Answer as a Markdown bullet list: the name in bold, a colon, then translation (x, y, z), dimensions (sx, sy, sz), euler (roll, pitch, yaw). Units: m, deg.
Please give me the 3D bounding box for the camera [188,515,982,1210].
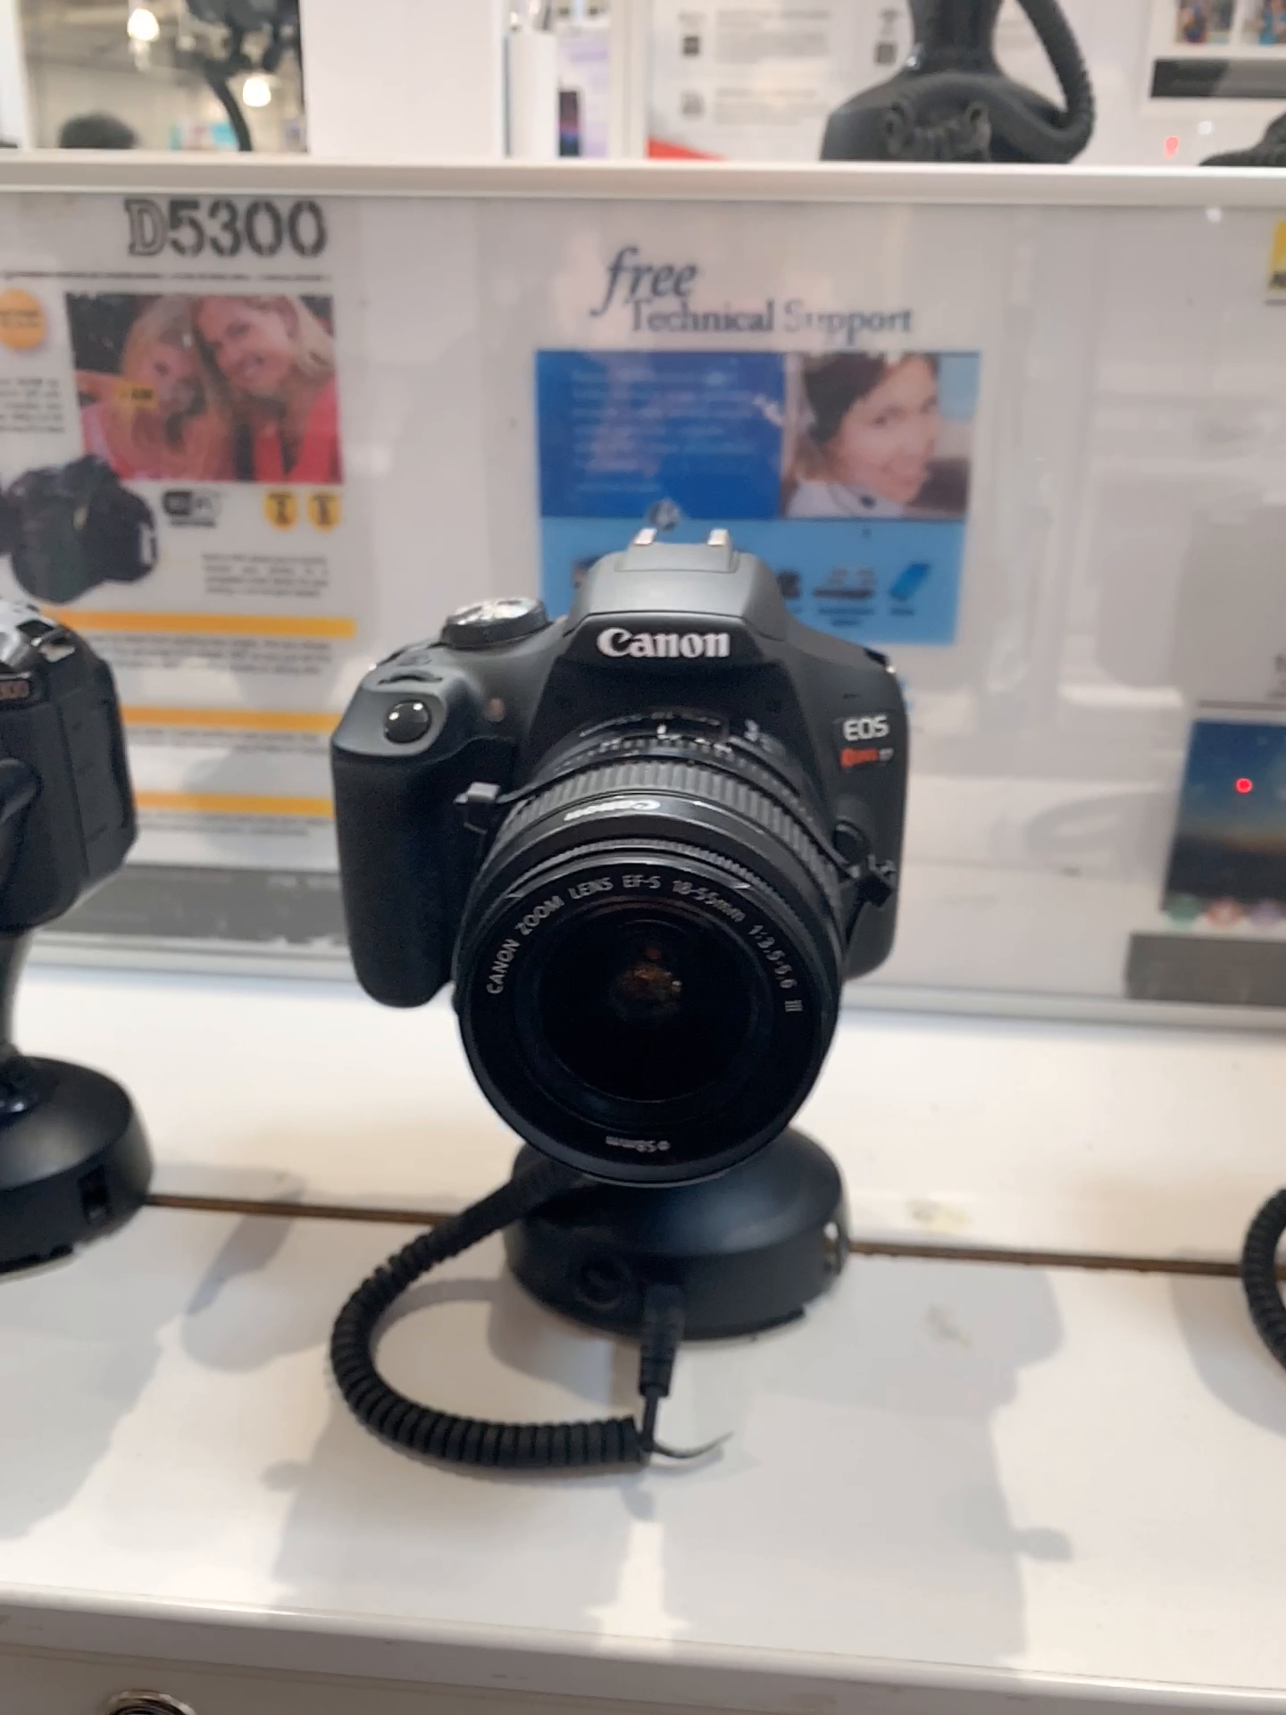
- **camera**: translation (-0.009, -0.008, 0.277), dimensions (0.122, 0.104, 0.110), euler (2, 21, 1)
